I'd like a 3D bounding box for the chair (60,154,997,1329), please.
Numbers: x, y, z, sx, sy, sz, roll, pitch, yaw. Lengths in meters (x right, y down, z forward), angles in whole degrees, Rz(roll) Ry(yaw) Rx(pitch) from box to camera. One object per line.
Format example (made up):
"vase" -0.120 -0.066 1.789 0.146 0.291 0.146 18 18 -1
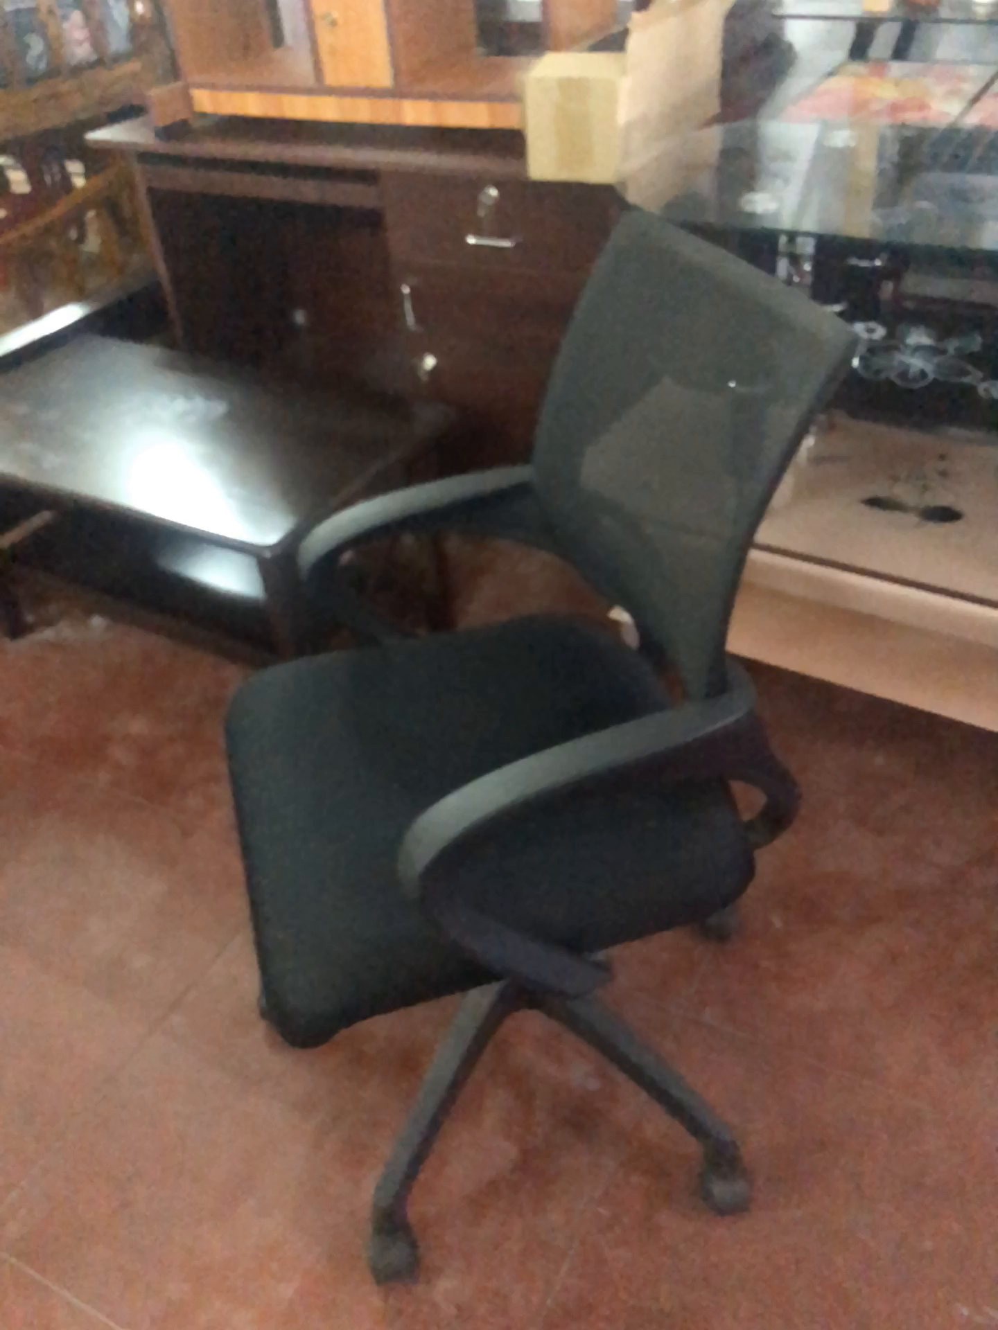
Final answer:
"chair" 0.002 0.073 1.179 0.631 0.915 0.753 -14 38 -12
